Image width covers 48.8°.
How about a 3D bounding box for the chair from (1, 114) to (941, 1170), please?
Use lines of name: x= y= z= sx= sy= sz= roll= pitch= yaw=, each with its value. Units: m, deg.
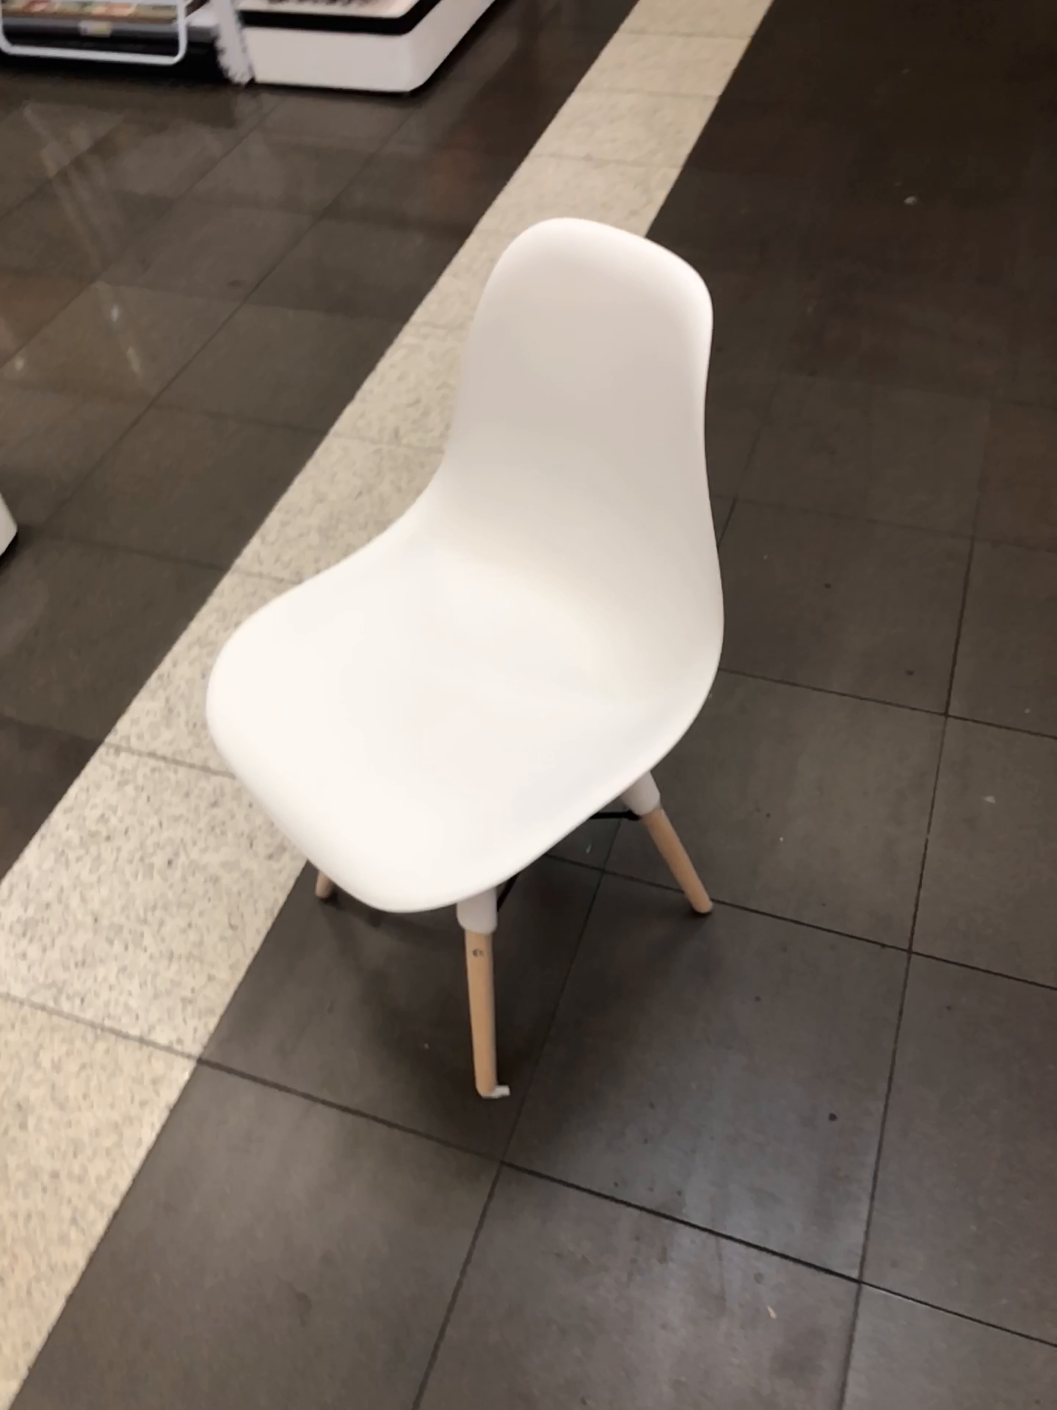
chair: x=-0.038 y=-0.042 z=1.206 sx=0.541 sy=0.795 sz=0.522 roll=-31 pitch=53 yaw=-20
